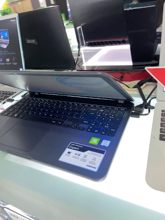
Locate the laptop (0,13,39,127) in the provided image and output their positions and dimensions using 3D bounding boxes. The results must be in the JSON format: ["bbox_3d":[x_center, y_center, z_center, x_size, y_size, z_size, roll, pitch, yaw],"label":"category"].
[{"bbox_3d":[-0.440,-0.165,0.624,0.368,0.240,0.332,7,37,28],"label":"laptop"}]

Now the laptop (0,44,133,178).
[{"bbox_3d":[-0.095,-0.035,0.398,0.366,0.146,0.232,7,36,27],"label":"laptop"}]
